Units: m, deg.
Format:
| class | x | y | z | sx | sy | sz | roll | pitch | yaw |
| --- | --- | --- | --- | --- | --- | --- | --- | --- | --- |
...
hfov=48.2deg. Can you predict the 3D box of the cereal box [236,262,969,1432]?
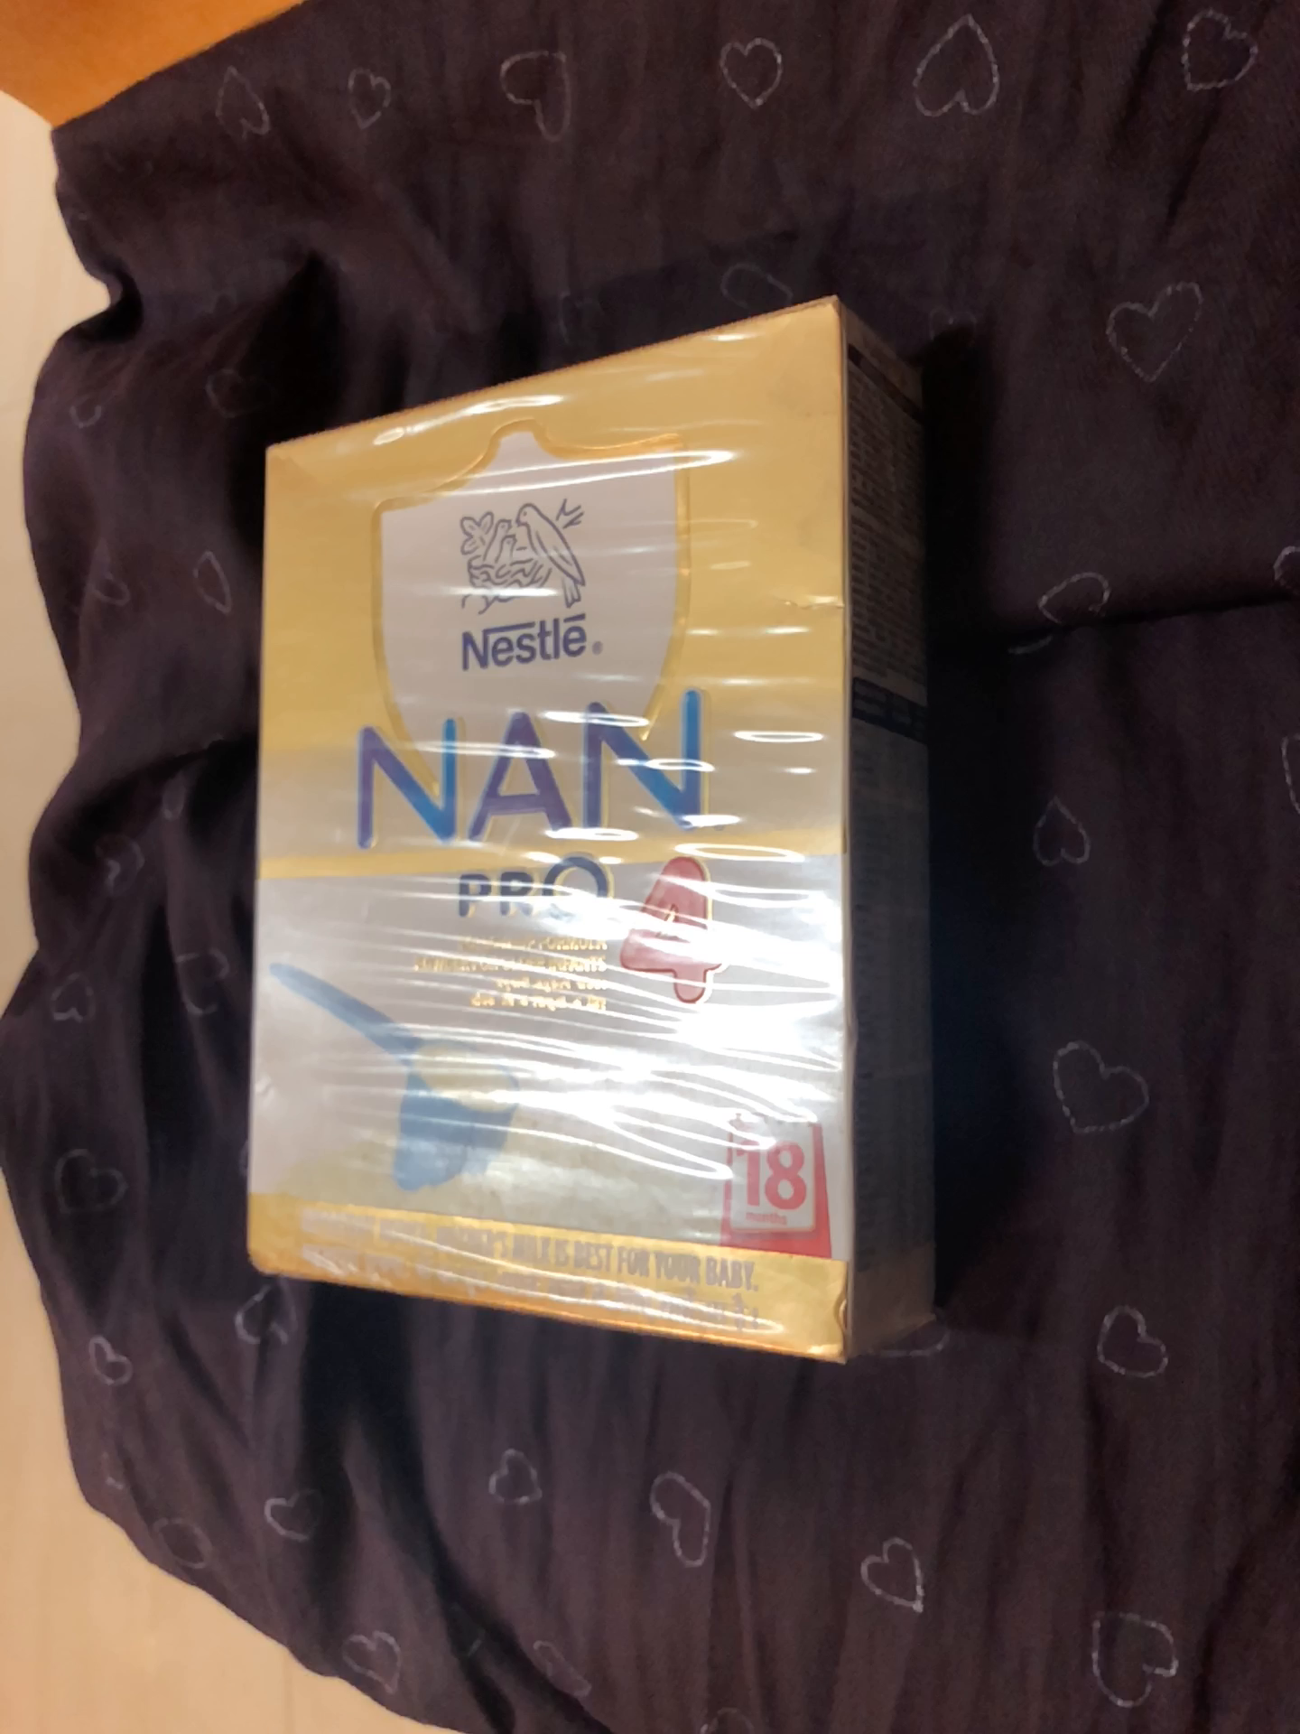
| class | x | y | z | sx | sy | sz | roll | pitch | yaw |
| --- | --- | --- | --- | --- | --- | --- | --- | --- | --- |
| cereal box | -0.016 | -0.002 | 0.325 | 0.161 | 0.050 | 0.210 | -3 | 85 | 33 |
